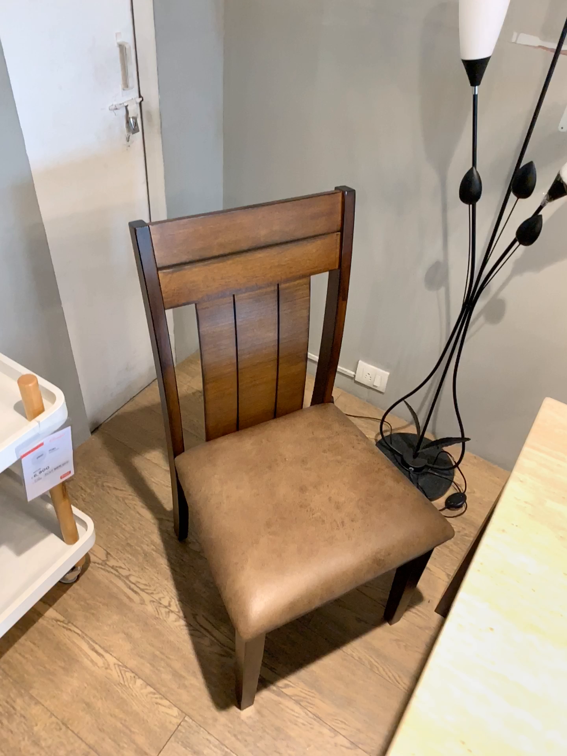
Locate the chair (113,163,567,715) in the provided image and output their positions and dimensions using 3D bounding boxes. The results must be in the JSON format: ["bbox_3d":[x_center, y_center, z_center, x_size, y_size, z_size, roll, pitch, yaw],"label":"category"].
[{"bbox_3d":[0.027,0.165,1.253,0.510,0.996,0.552,-18,48,-24],"label":"chair"}]
